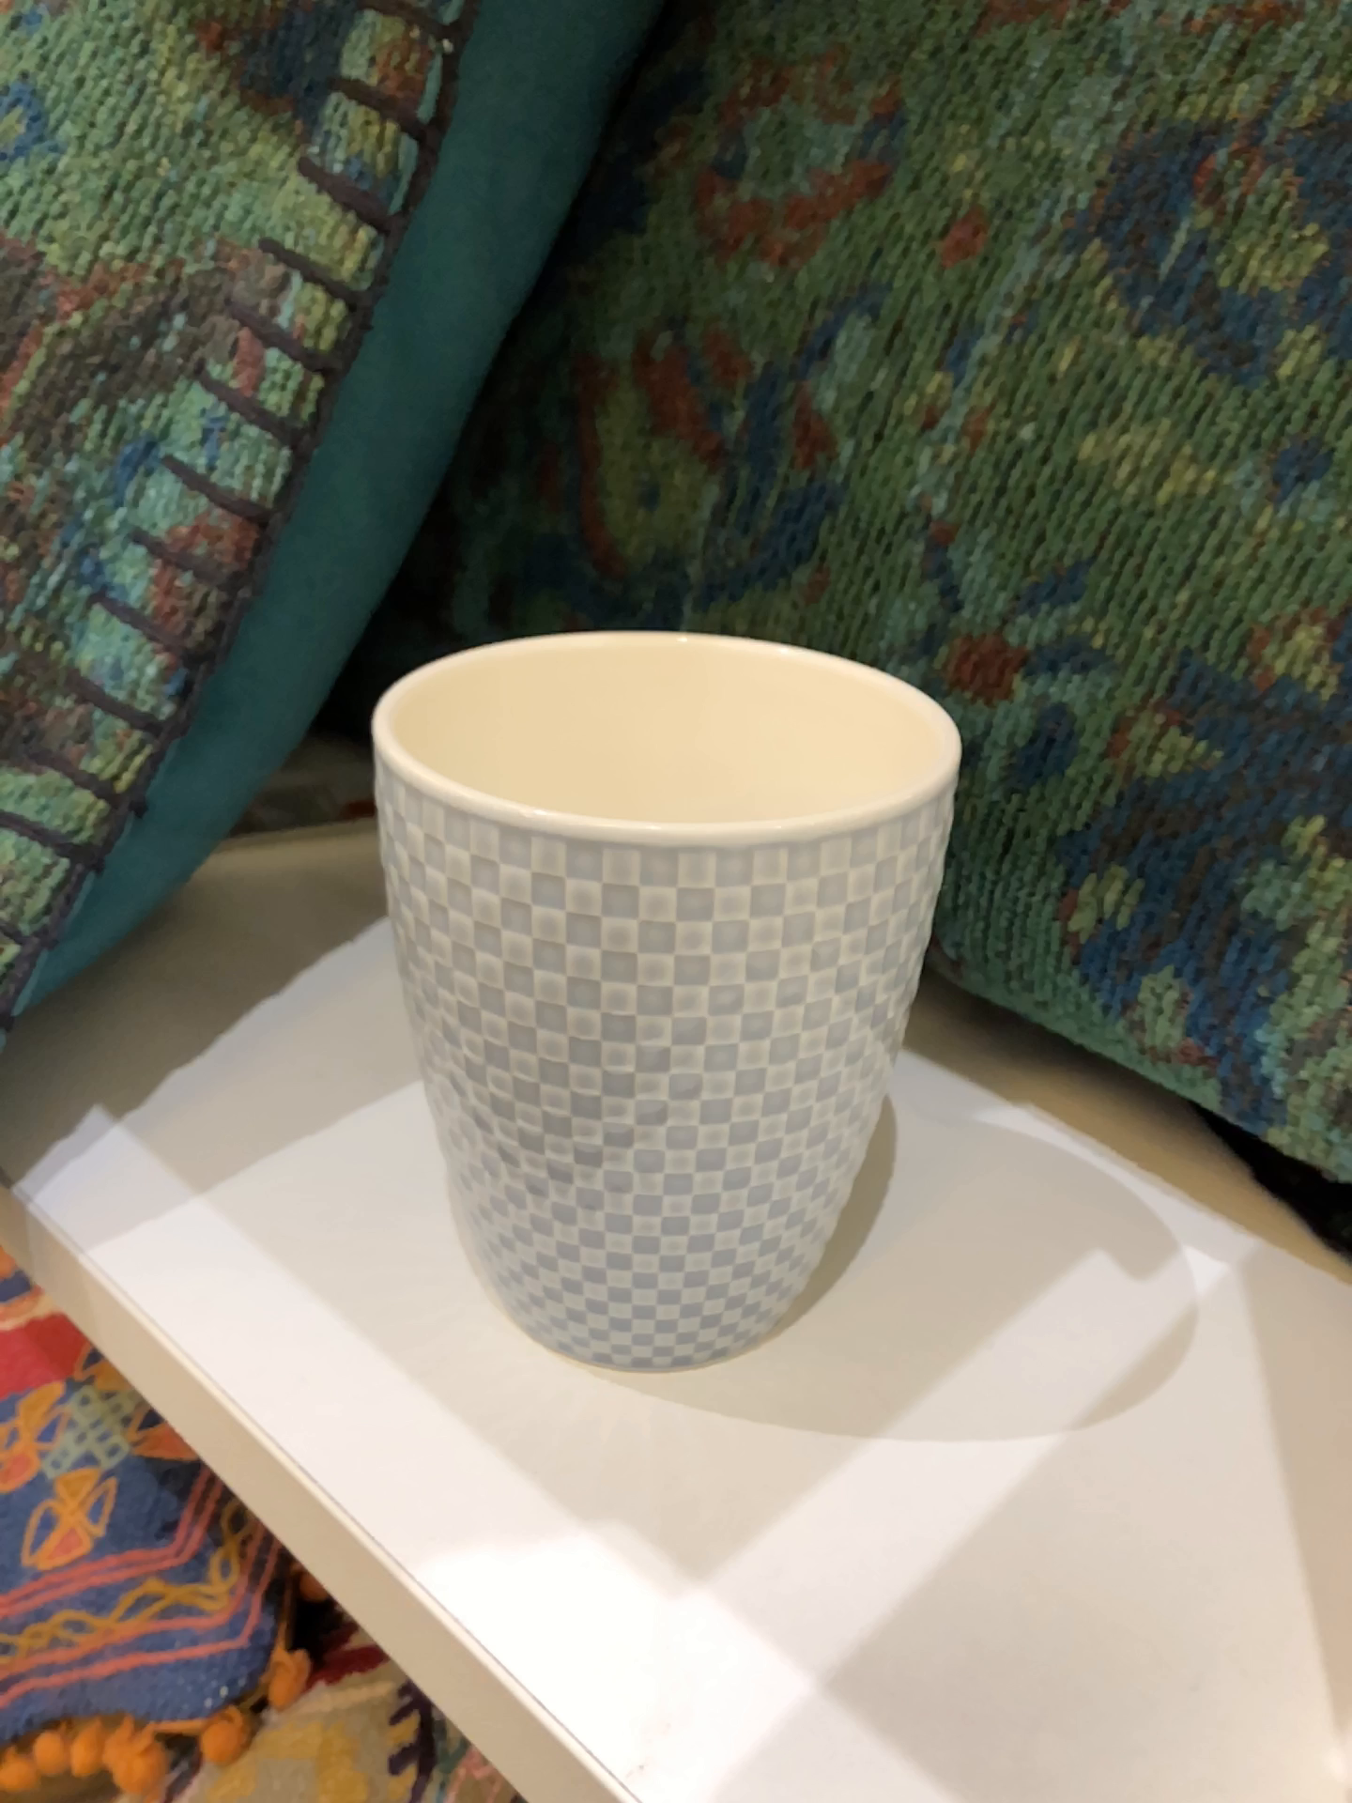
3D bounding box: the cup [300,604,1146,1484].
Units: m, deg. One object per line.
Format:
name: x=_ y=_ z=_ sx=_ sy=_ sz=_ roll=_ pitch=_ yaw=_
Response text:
cup: x=-0.003 y=0.010 z=0.227 sx=0.090 sy=0.079 sz=0.101 roll=-6 pitch=27 yaw=-16
